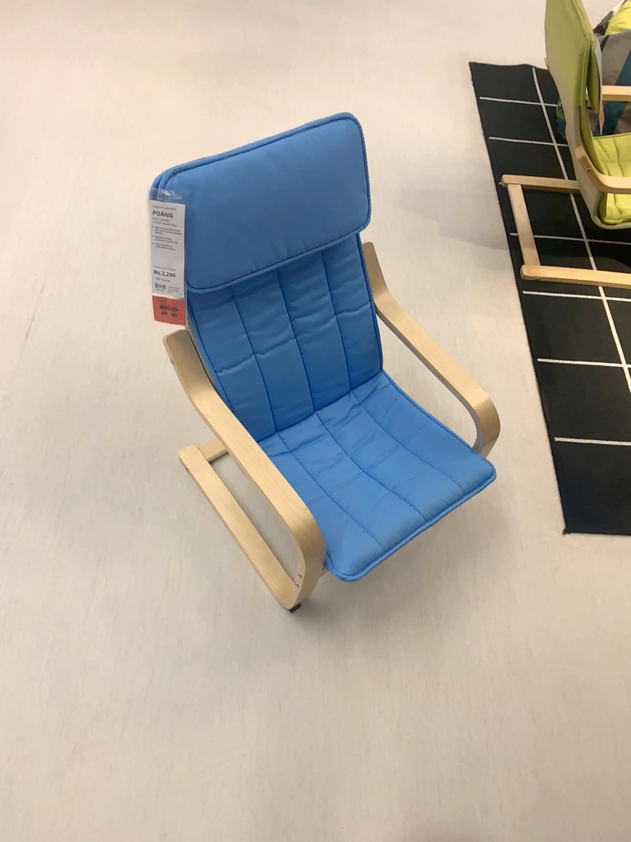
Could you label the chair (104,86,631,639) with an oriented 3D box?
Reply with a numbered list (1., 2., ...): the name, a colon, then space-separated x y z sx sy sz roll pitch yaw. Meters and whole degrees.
1. chair: 0.050 -0.074 1.101 0.510 0.639 0.501 -30 64 -23
